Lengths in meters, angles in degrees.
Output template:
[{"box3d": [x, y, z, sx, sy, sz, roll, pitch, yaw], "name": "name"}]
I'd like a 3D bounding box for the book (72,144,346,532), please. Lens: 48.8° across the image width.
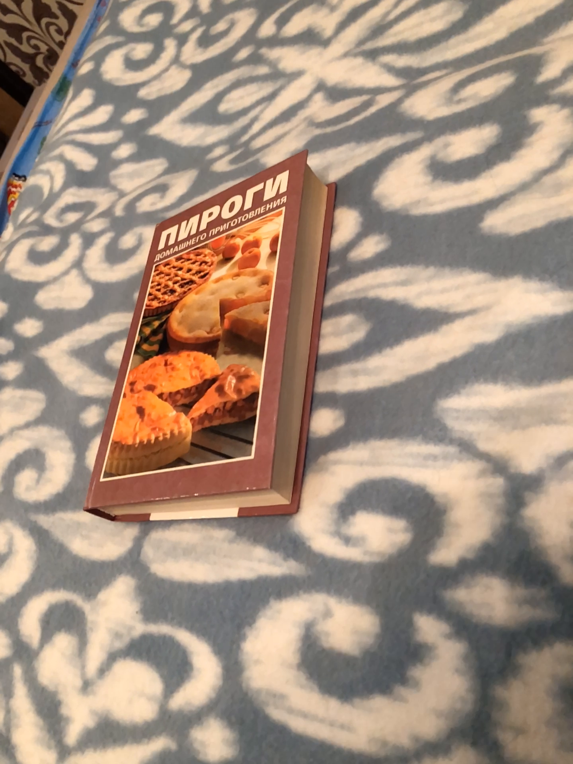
[{"box3d": [-0.040, -0.023, 0.359, 0.131, 0.040, 0.201, -13, 57, 35], "name": "book"}]
